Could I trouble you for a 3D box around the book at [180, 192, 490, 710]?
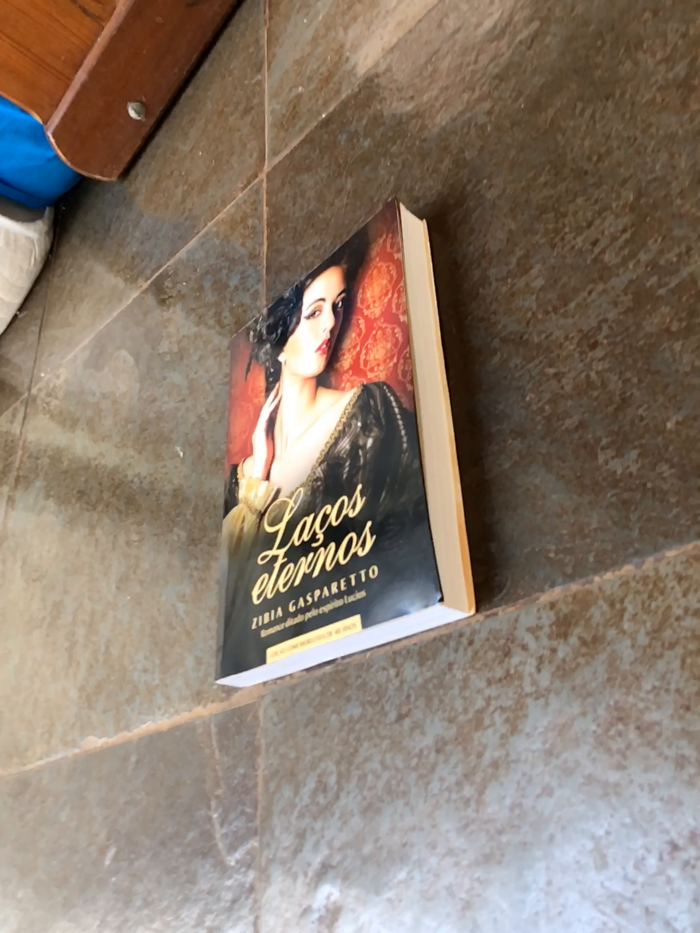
[{"bbox_3d":[-0.018,-0.006,0.362,0.153,0.027,0.205,-28,51,37],"label":"book"}]
